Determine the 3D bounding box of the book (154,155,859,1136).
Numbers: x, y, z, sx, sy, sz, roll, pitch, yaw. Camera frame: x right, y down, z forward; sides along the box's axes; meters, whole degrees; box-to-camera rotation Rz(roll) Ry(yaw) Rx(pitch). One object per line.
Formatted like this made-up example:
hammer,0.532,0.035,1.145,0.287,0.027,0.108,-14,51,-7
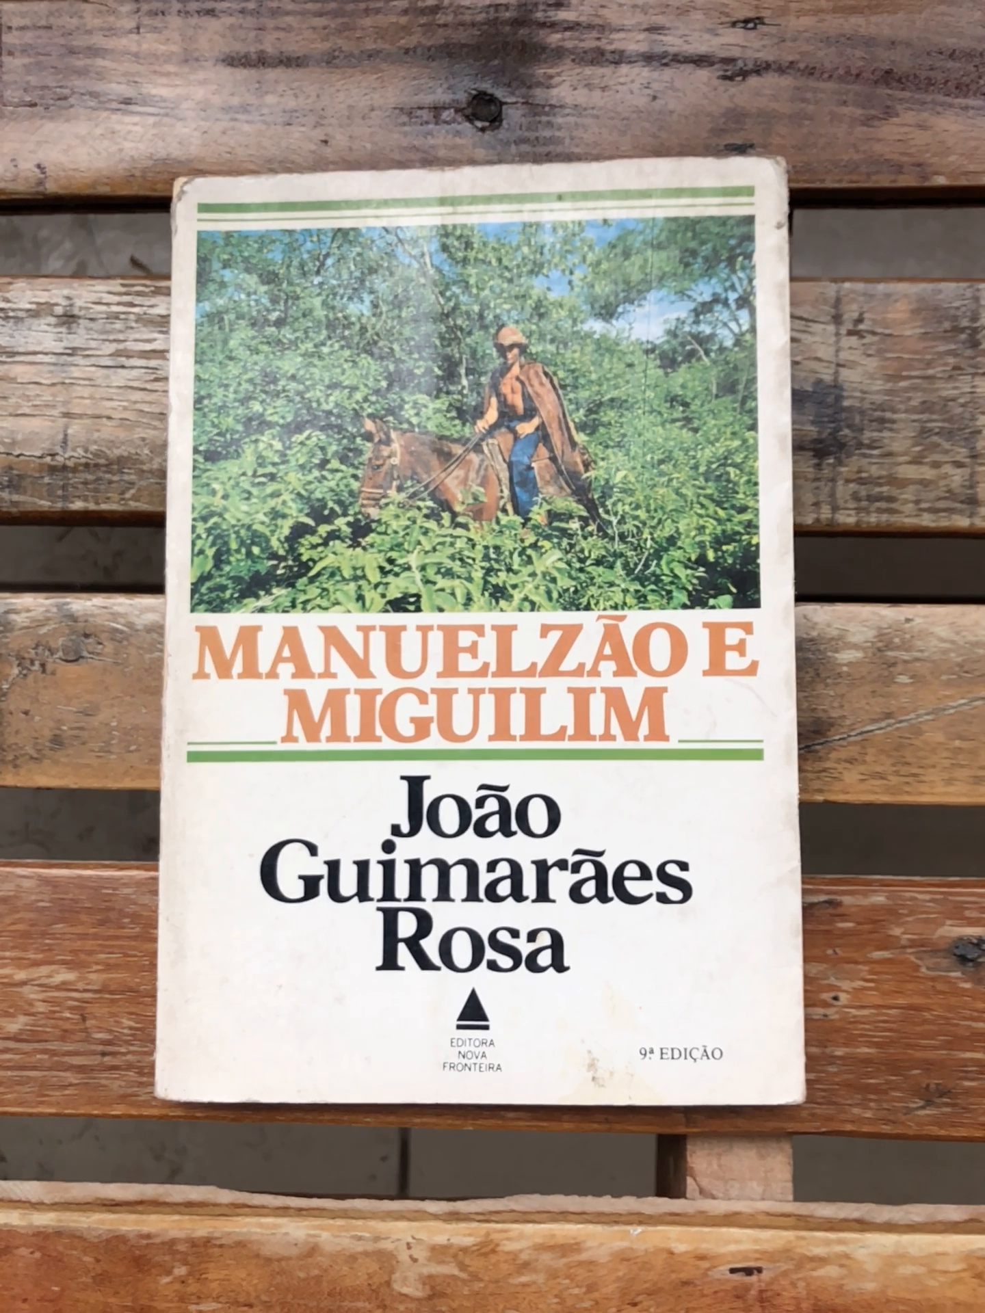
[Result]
book,0.000,-0.004,0.237,0.141,0.020,0.200,-1,86,2
